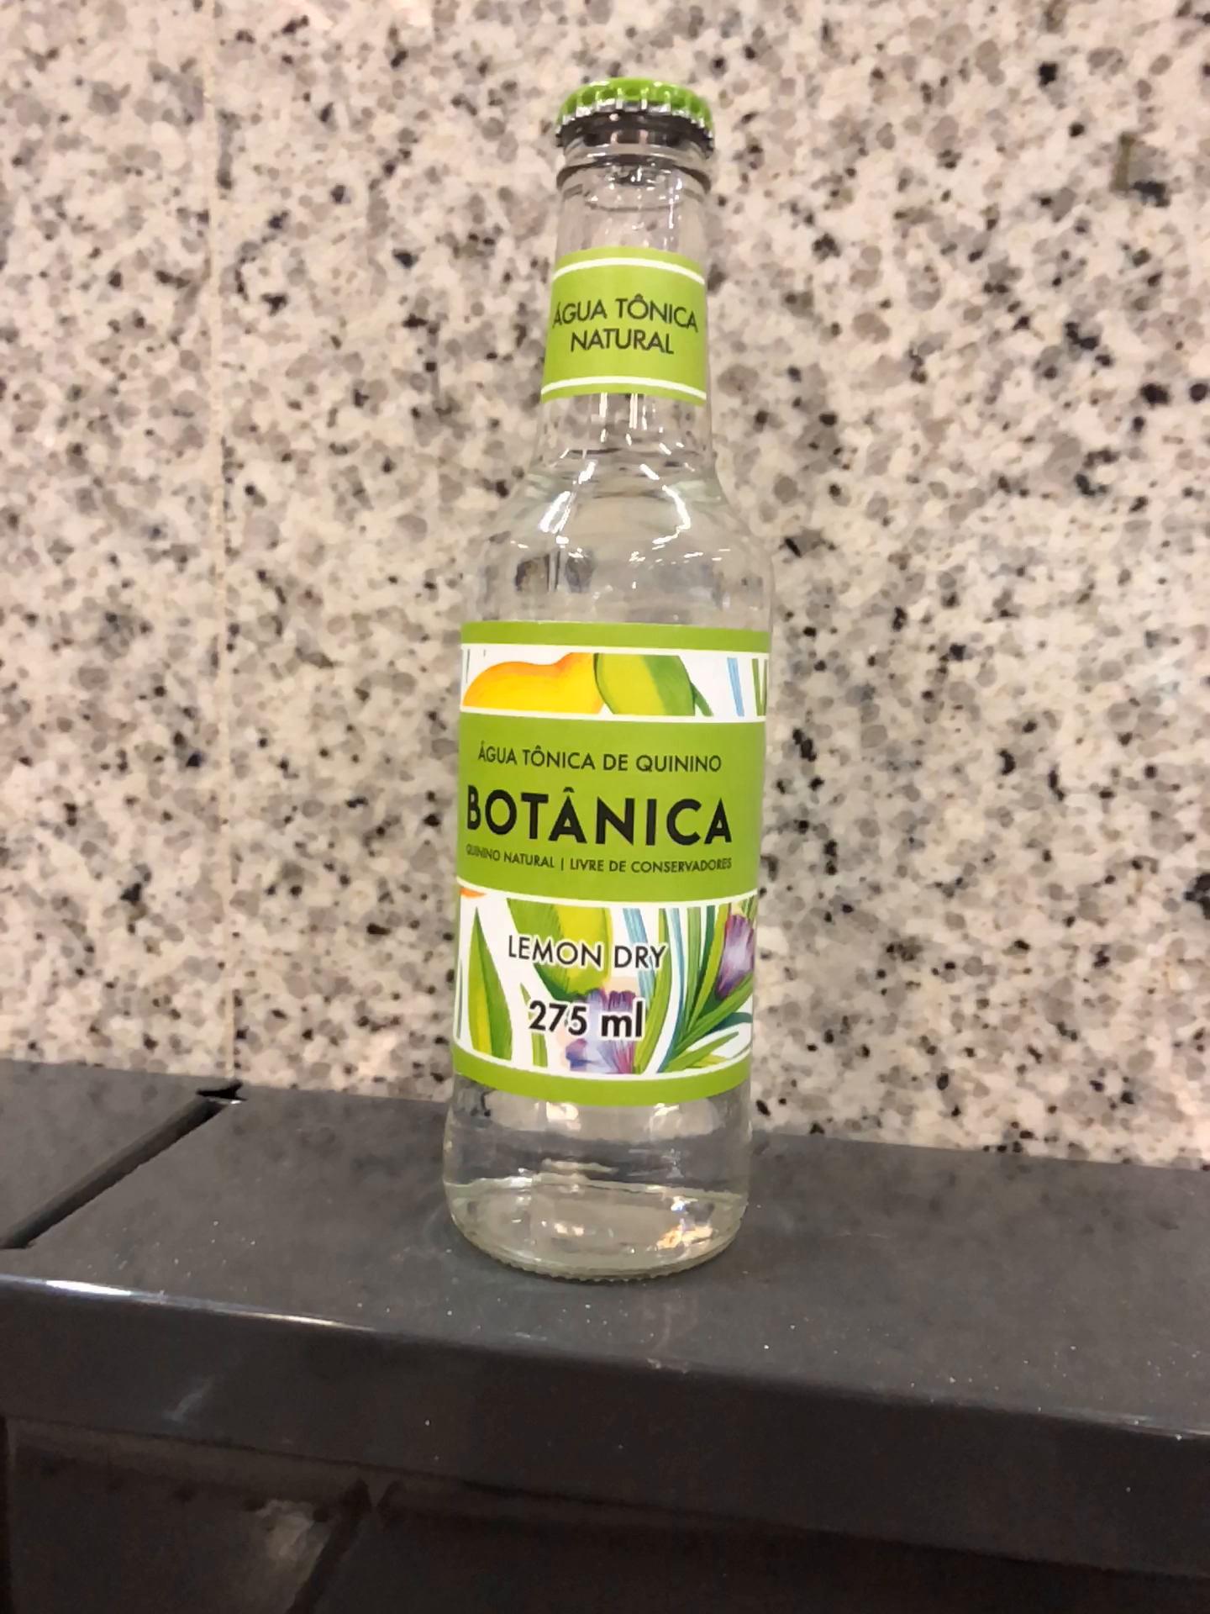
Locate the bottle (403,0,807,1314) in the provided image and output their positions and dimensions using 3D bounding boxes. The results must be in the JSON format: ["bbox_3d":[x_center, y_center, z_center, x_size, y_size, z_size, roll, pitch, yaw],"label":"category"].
[{"bbox_3d":[0.000,-0.024,0.245,0.060,0.209,0.060,1,8,0],"label":"bottle"}]
